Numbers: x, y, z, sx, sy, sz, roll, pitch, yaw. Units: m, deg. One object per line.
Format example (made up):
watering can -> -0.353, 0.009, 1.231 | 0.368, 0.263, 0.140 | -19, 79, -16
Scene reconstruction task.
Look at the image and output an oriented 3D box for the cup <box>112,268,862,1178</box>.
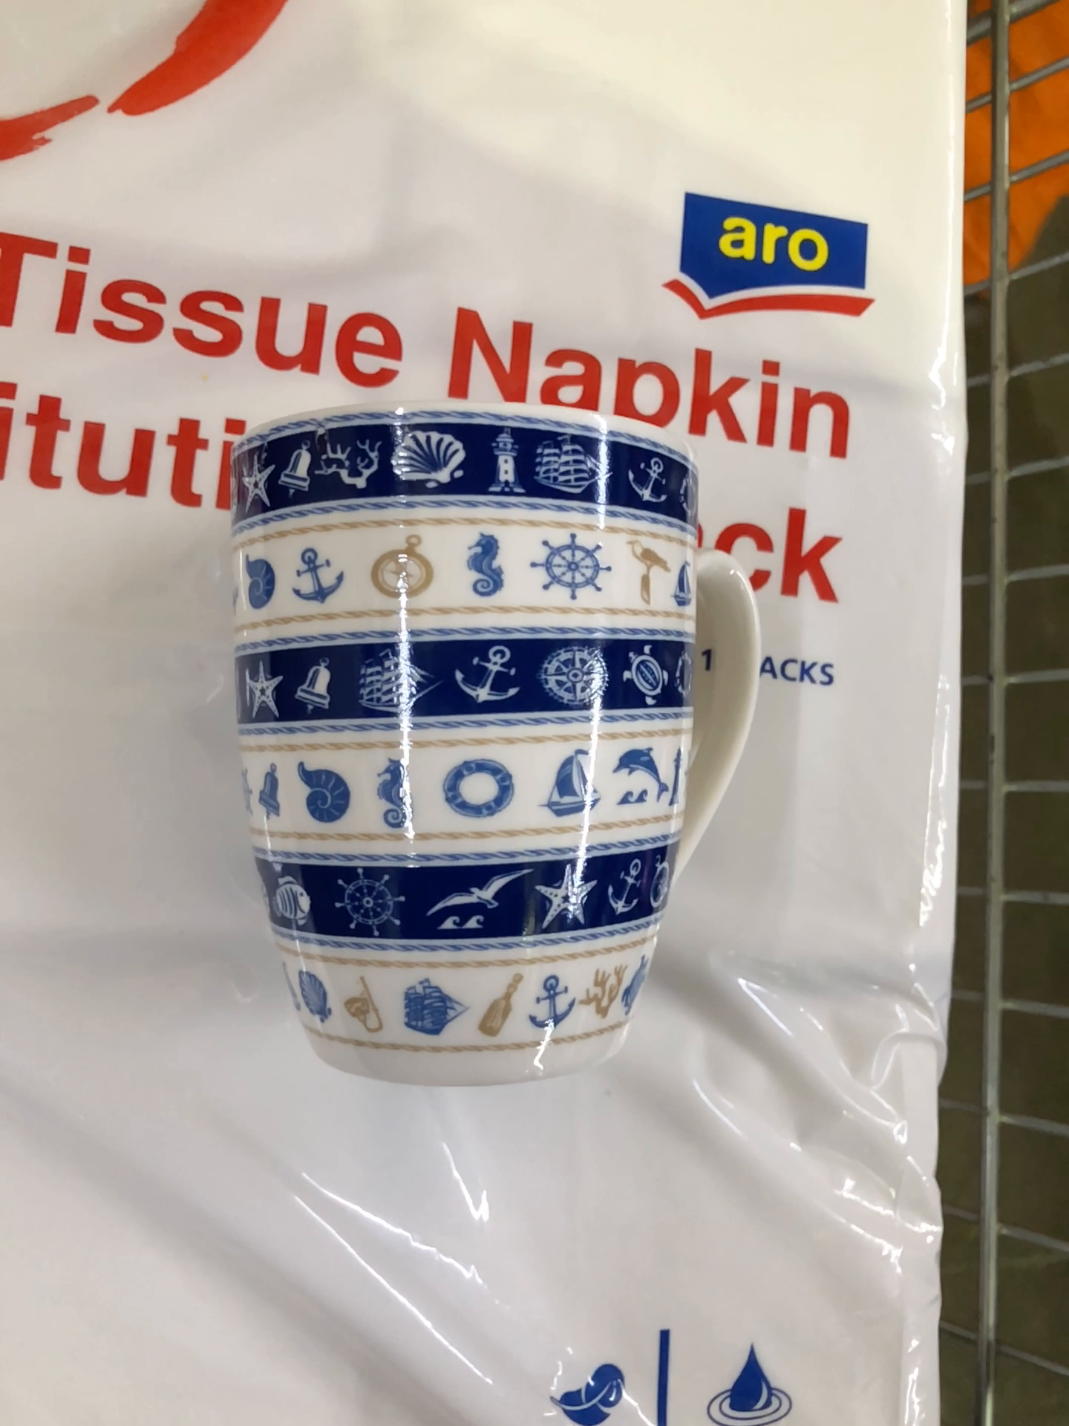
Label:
cup -> 0.000, 0.002, 0.217 | 0.120, 0.080, 0.110 | 0, 90, -56
